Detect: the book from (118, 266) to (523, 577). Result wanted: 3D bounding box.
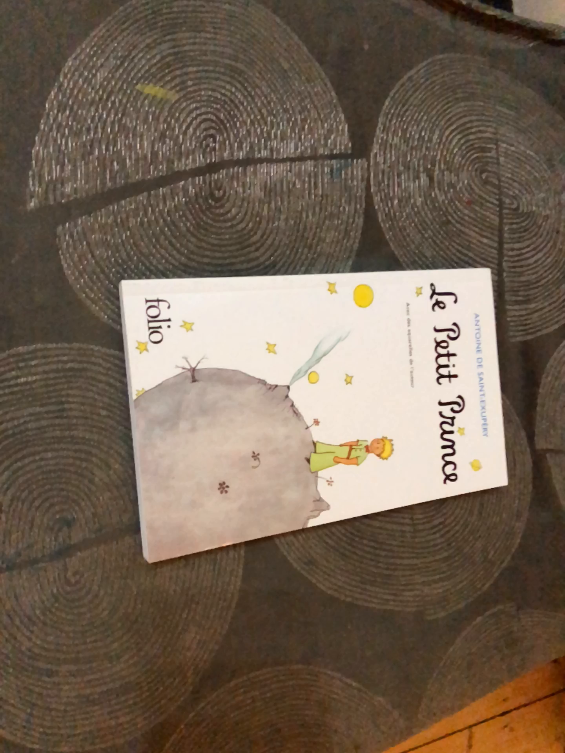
[{"bbox_3d":[0.022,0.011,0.267,0.170,0.030,0.110,-5,95,-19],"label":"book"}]
